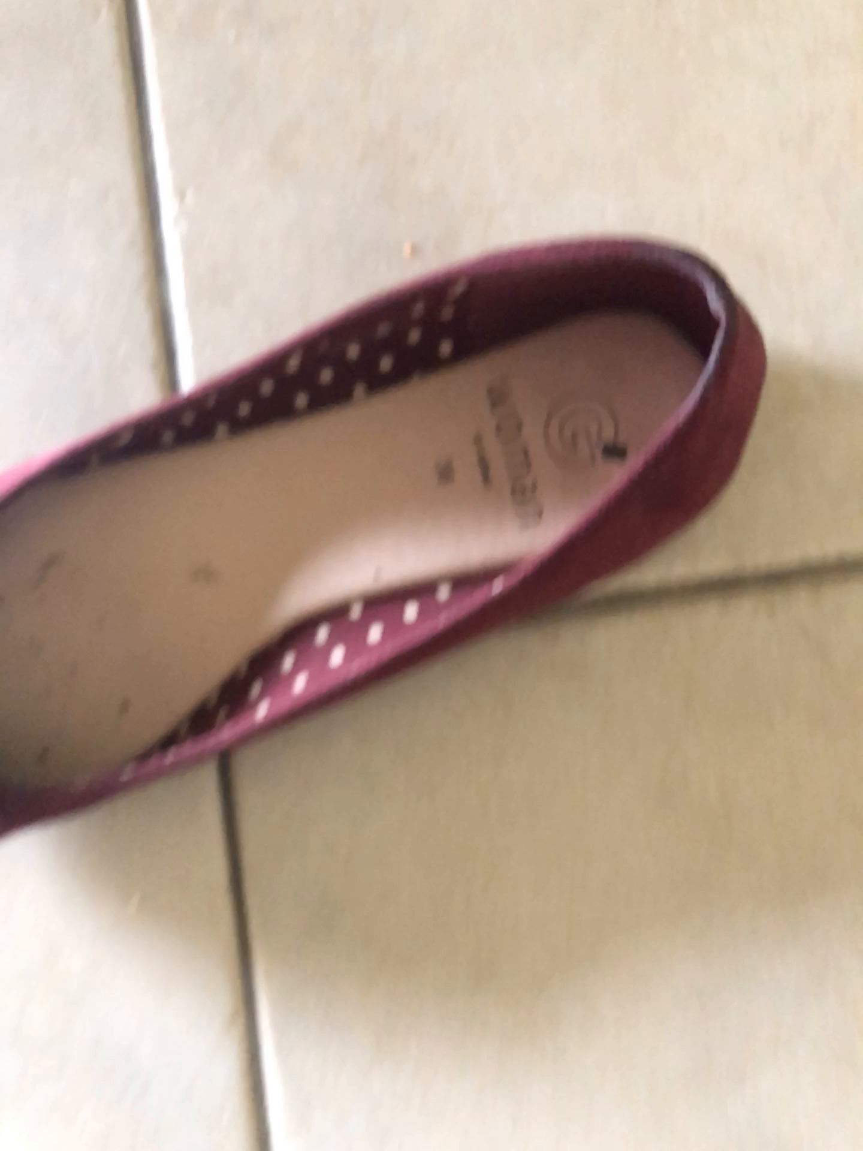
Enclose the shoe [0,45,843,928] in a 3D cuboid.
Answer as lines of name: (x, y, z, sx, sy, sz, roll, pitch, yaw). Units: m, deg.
shoe: (-0.055, -0.004, 0.220, 0.250, 0.080, 0.082, -20, 78, 11)
